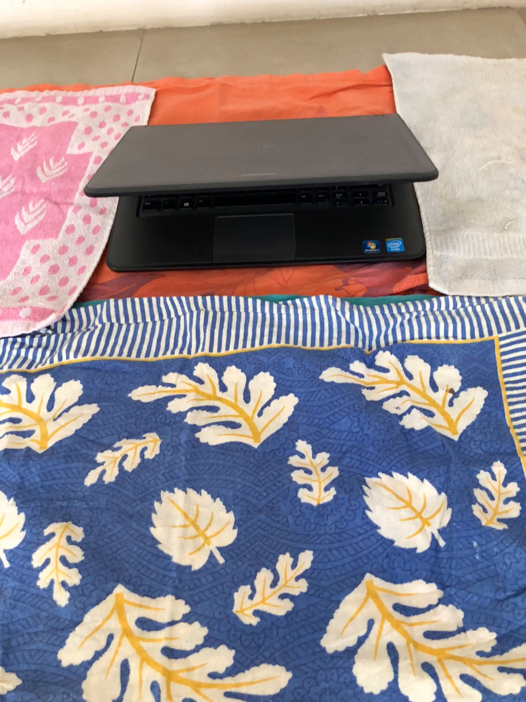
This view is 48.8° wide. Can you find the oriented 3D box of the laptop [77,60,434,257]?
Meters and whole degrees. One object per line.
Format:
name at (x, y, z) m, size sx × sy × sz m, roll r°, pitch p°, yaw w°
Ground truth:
laptop at (-0.006, -0.210, 0.612) m, size 0.314 × 0.078 × 0.228 m, roll -2°, pitch 50°, yaw 2°
